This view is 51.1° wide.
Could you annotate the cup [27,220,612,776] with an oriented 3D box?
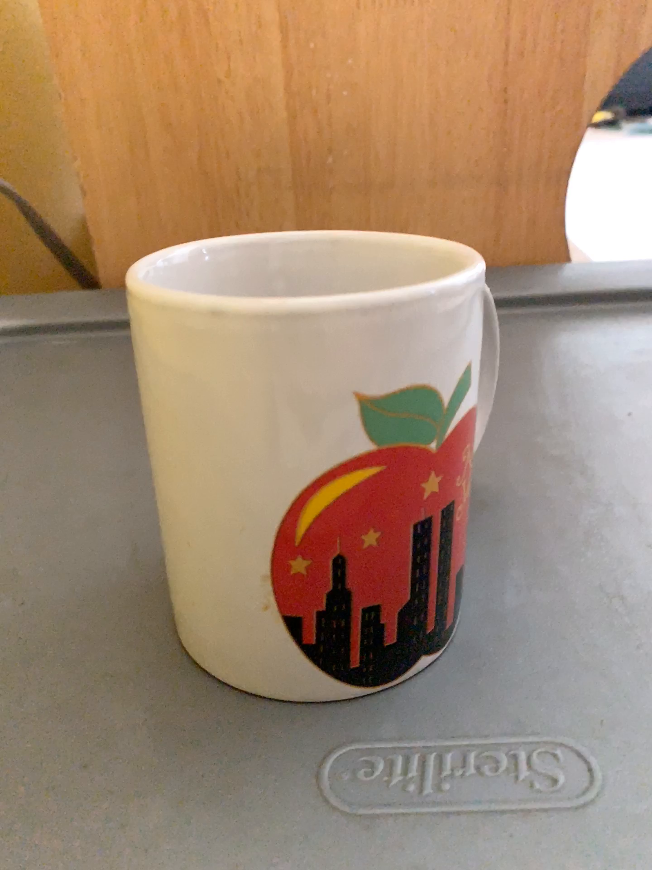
[{"bbox_3d":[0.002,-0.002,0.196,0.118,0.095,0.097,-23,32,-40],"label":"cup"}]
